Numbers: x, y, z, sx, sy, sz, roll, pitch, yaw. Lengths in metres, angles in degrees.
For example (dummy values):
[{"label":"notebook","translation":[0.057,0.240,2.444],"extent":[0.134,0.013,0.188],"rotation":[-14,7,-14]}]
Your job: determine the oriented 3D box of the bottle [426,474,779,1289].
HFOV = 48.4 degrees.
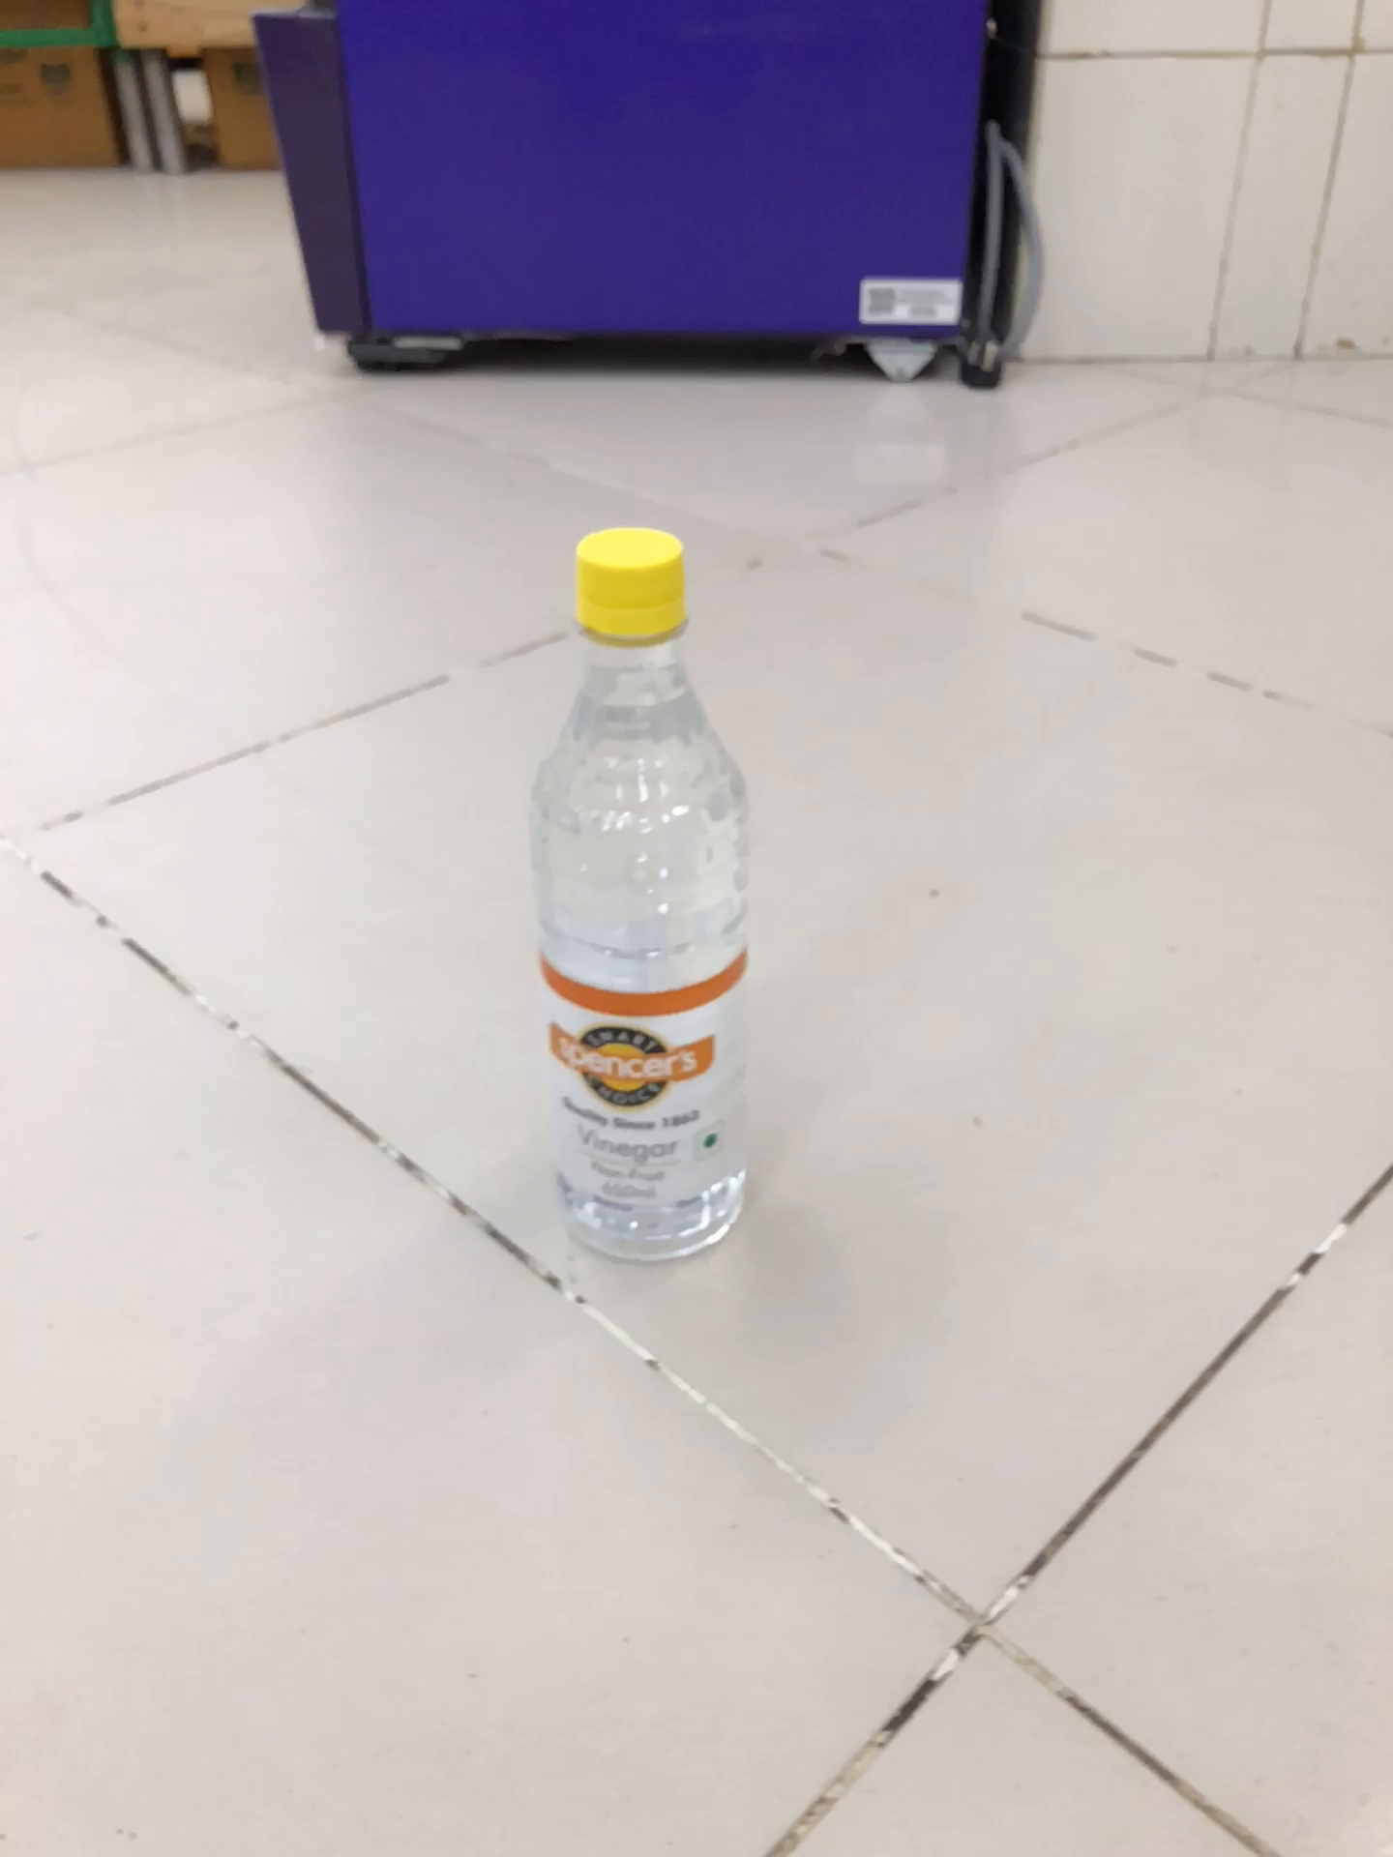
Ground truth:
[{"label":"bottle","translation":[-0.020,-0.008,0.478],"extent":[0.080,0.238,0.081],"rotation":[-1,33,0]}]
